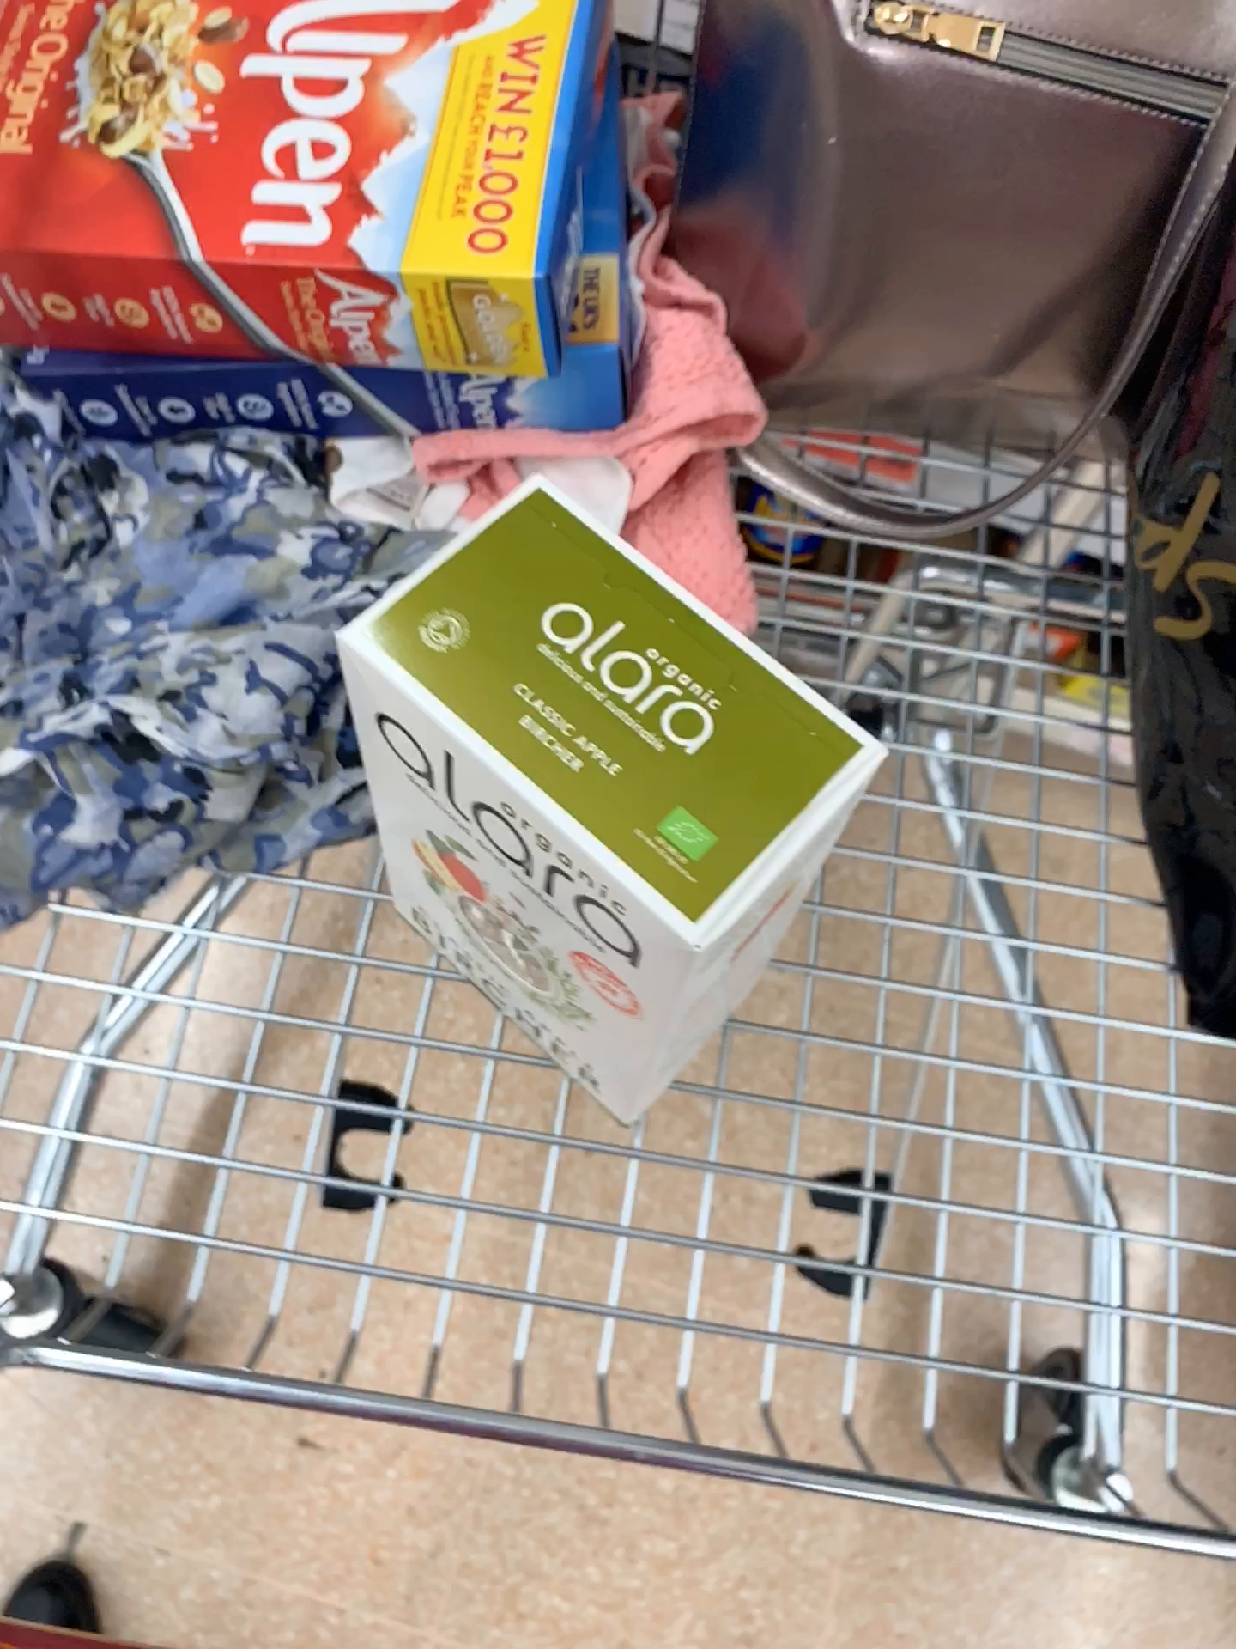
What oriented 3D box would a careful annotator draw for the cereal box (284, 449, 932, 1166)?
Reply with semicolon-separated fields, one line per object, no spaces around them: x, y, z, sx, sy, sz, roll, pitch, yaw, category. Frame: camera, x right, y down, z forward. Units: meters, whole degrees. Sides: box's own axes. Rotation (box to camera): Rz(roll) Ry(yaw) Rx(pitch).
-0.010;0.010;0.362;0.120;0.179;0.080;41;69;12;cereal box
